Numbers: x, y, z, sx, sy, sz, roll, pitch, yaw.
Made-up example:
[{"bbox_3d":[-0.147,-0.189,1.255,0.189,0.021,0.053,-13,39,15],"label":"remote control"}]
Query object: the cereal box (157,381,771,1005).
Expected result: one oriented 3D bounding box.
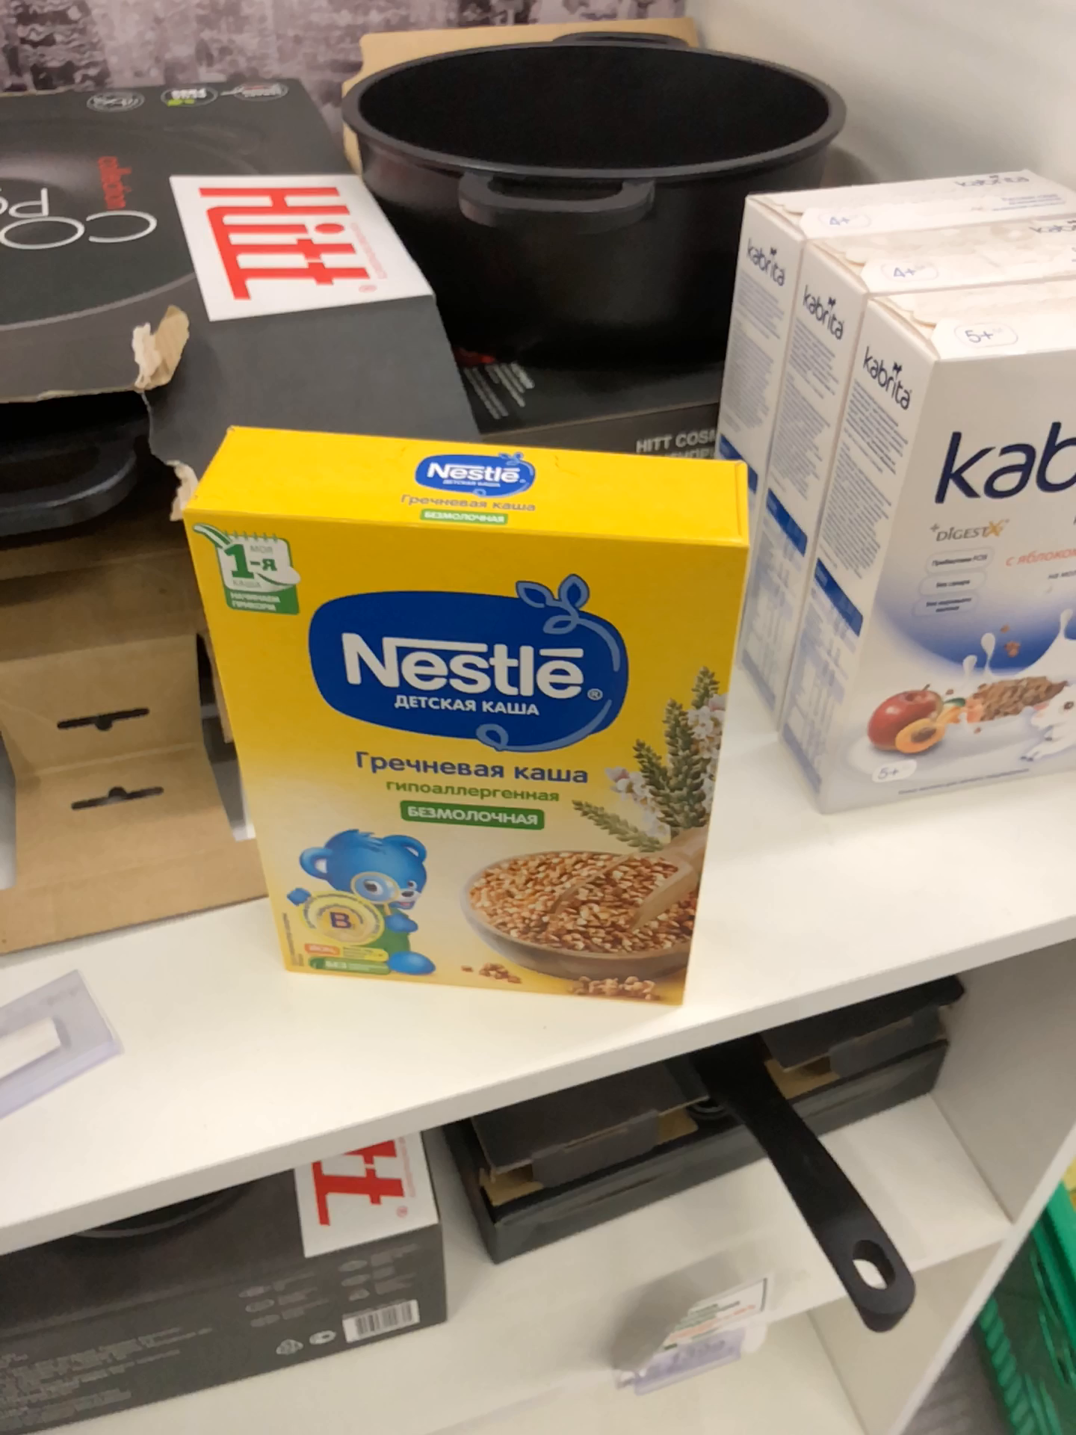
[{"bbox_3d":[-0.018,0.003,0.374,0.150,0.199,0.050,4,41,3],"label":"cereal box"}]
